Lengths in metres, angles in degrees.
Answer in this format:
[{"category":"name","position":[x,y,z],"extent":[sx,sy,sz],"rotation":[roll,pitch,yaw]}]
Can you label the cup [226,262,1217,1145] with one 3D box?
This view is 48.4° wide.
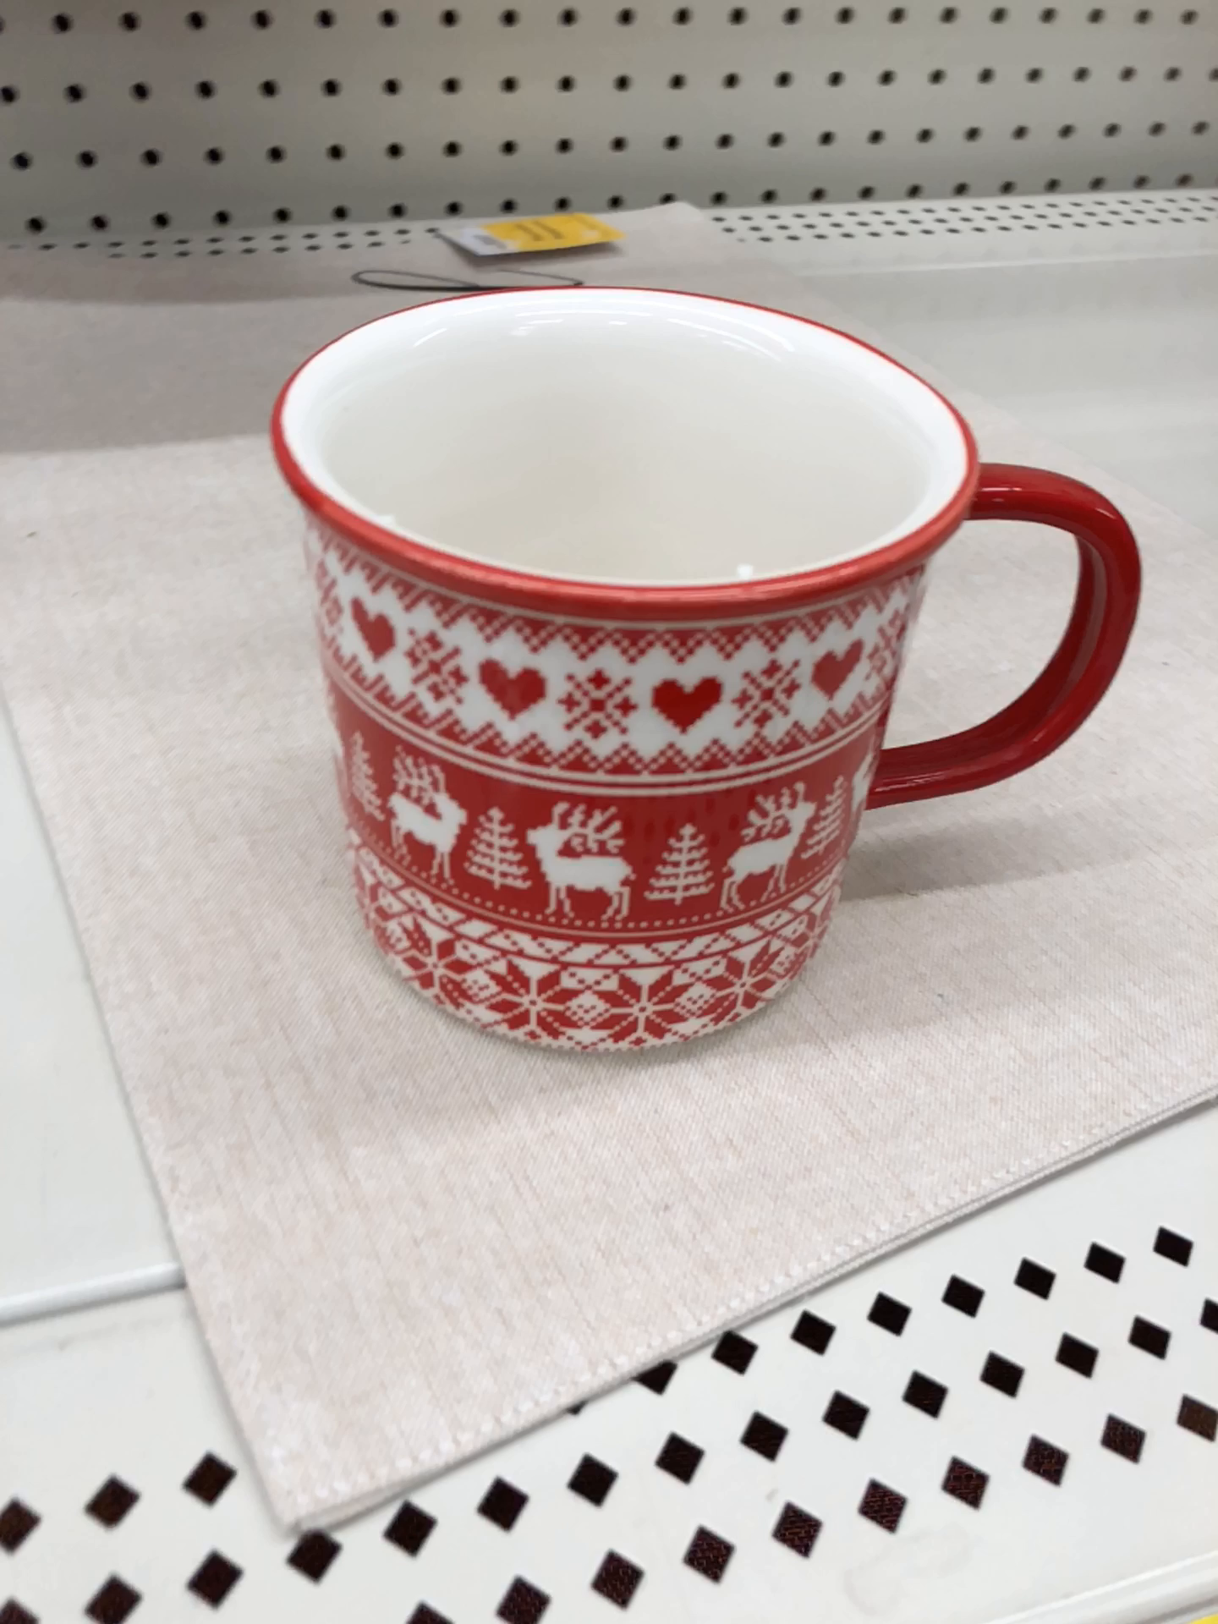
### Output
[{"category":"cup","position":[0.019,-0.026,0.241],"extent":[0.150,0.100,0.100],"rotation":[-8,43,-13]}]
